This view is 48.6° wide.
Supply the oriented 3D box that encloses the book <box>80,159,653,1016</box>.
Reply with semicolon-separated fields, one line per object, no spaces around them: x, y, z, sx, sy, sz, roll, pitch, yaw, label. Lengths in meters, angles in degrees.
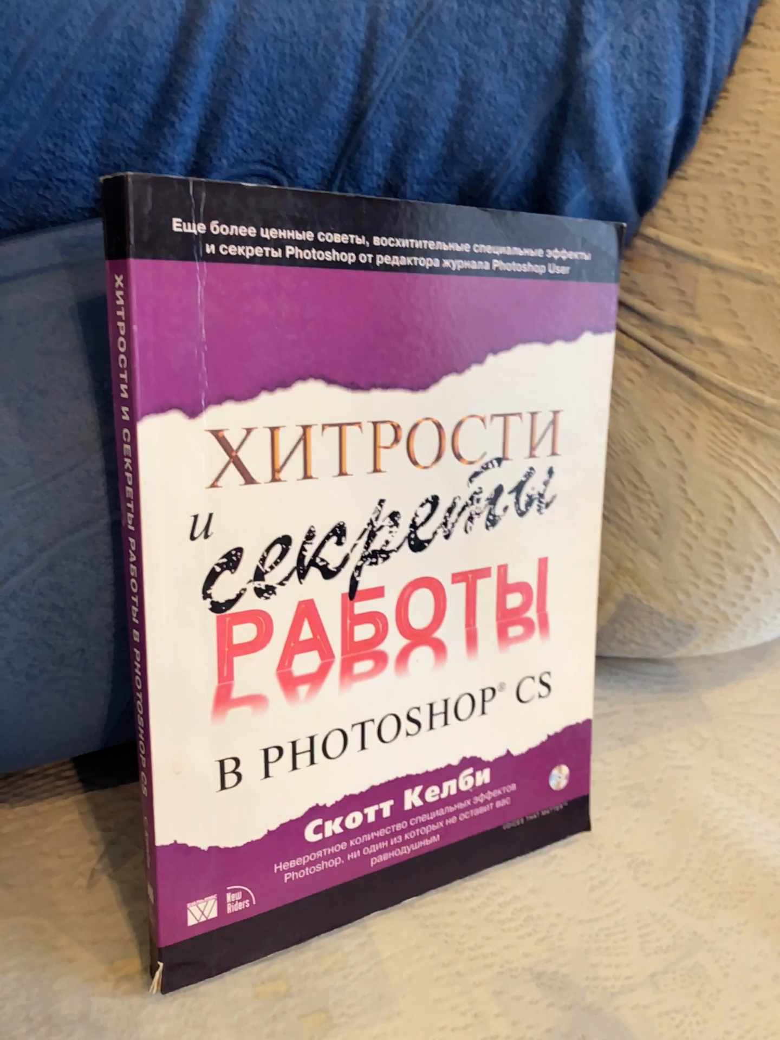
0.004;0.021;0.326;0.209;0.271;0.030;-7;15;-31;book
